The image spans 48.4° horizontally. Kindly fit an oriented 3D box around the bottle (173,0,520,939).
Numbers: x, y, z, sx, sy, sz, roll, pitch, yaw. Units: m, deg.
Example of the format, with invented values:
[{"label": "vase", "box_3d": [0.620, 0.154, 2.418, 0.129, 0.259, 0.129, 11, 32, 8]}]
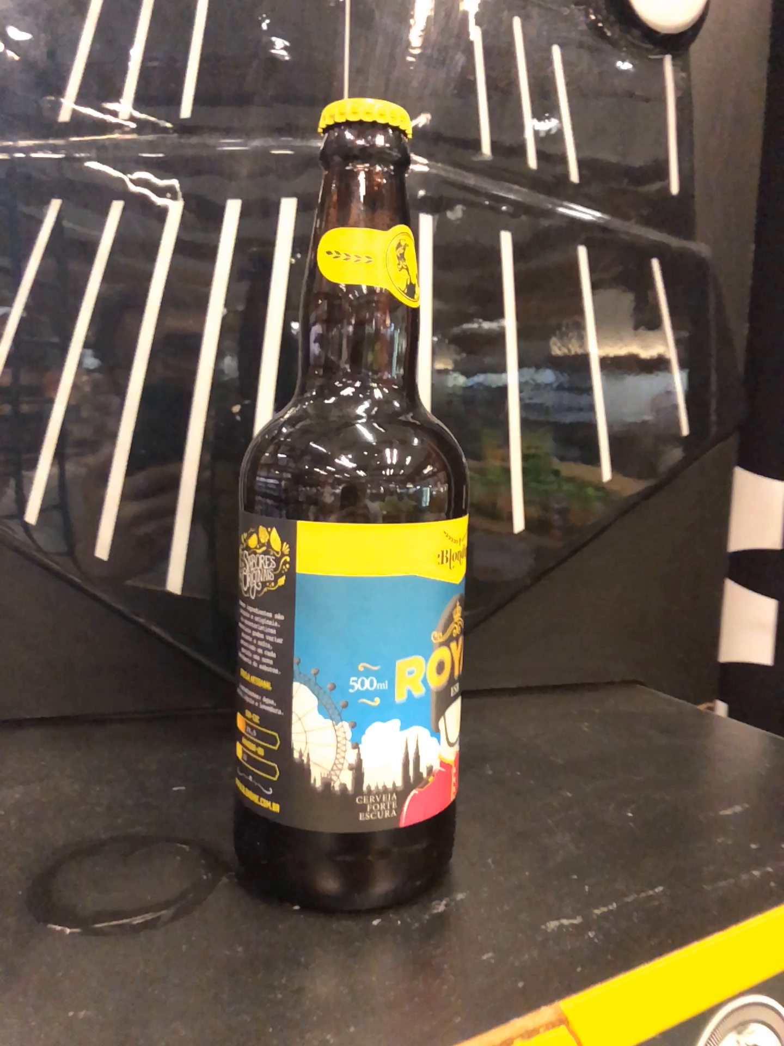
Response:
[{"label": "bottle", "box_3d": [-0.011, -0.019, 0.264, 0.070, 0.240, 0.080, 4, 6, 23]}]
